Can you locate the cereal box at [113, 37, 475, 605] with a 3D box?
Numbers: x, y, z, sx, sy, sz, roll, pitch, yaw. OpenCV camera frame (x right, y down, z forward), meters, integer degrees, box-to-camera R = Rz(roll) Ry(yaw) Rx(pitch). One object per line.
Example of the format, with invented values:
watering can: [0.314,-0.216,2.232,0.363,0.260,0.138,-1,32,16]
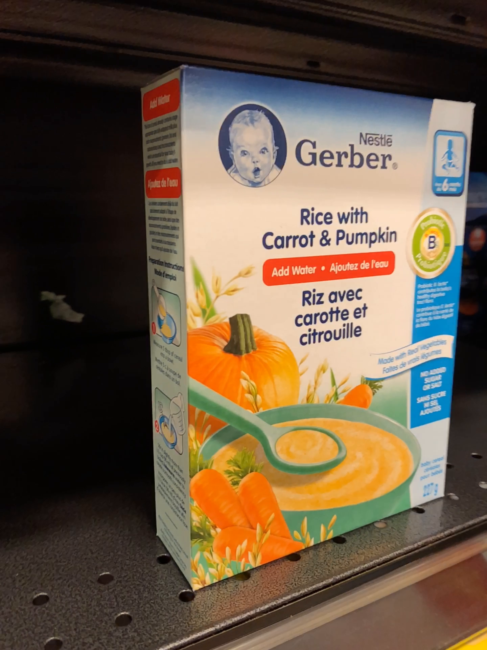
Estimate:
cereal box: [0.027,-0.003,0.241,0.150,0.200,0.040,-7,14,-29]
